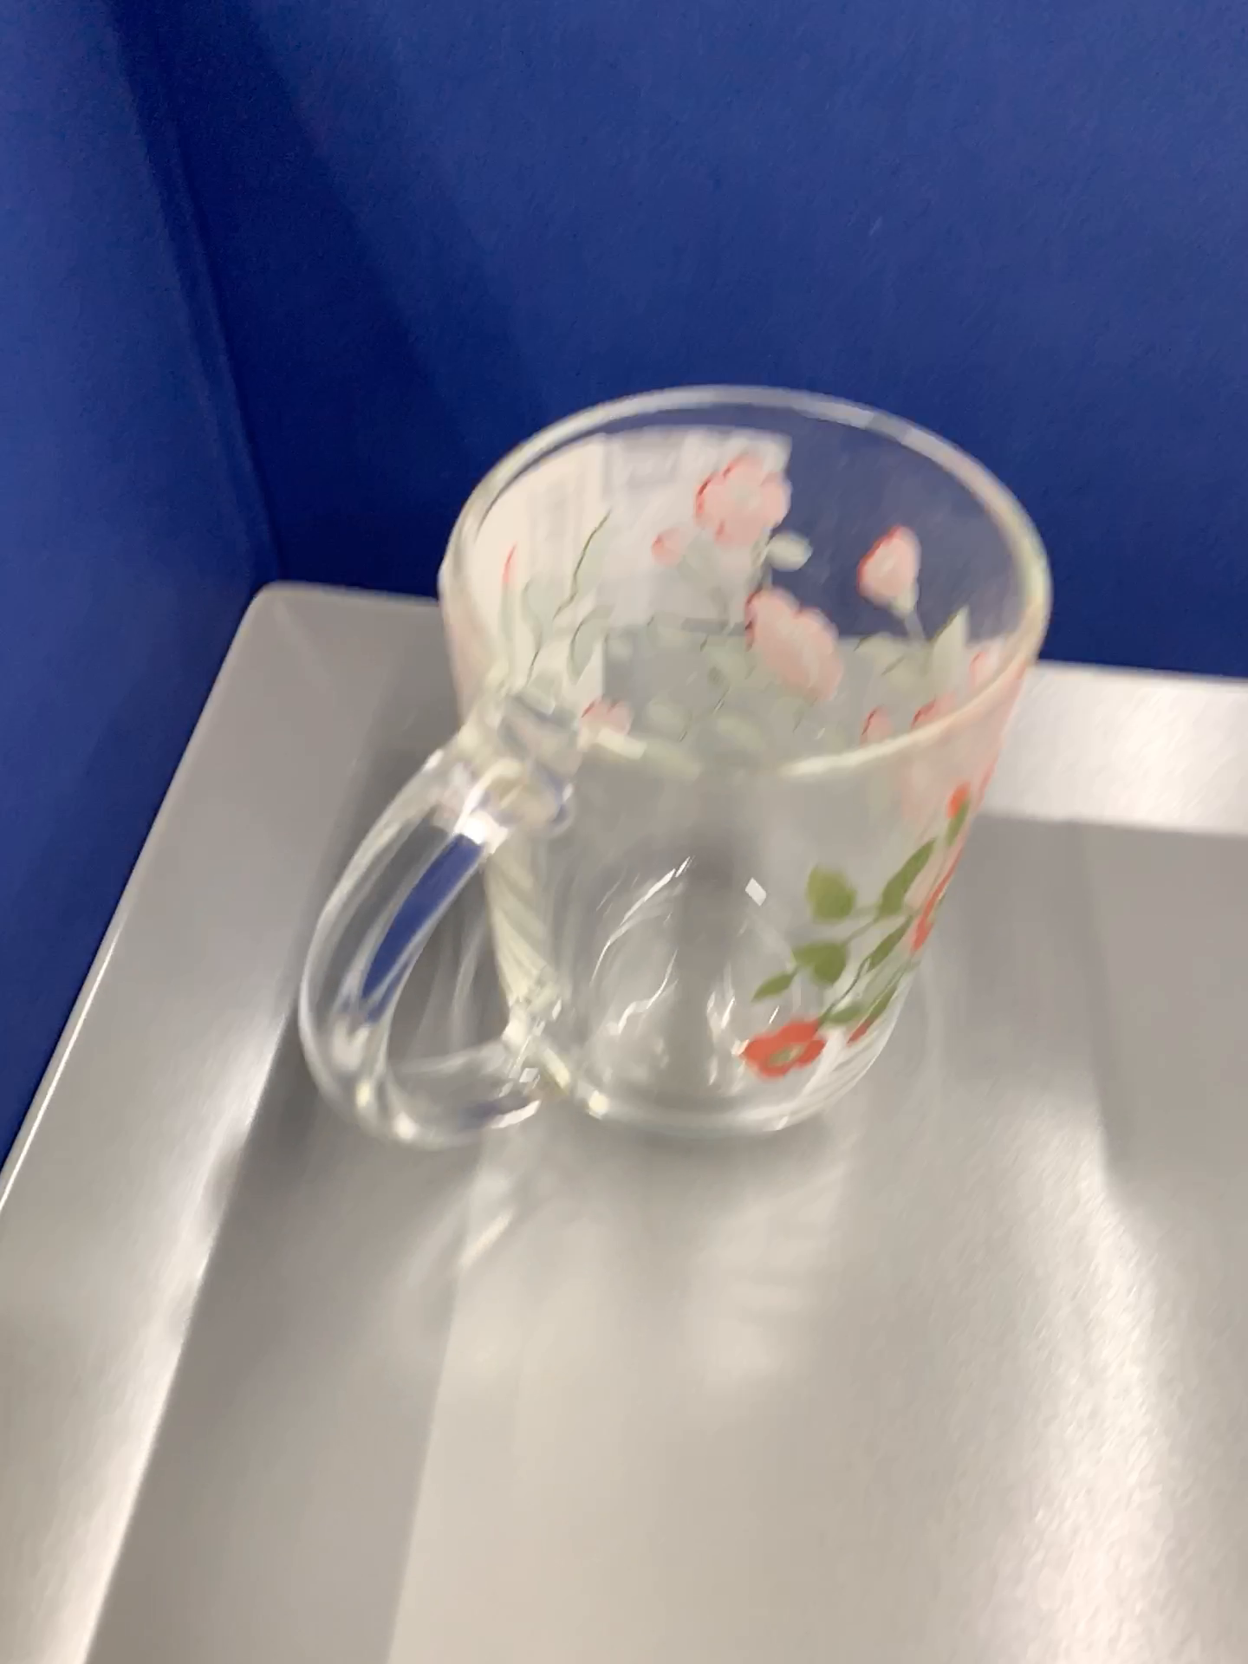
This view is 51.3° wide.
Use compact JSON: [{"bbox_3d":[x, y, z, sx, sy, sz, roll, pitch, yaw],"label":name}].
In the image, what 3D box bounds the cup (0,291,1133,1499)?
[{"bbox_3d":[-0.009,0.005,0.190,0.088,0.104,0.115,35,56,27],"label":"cup"}]
